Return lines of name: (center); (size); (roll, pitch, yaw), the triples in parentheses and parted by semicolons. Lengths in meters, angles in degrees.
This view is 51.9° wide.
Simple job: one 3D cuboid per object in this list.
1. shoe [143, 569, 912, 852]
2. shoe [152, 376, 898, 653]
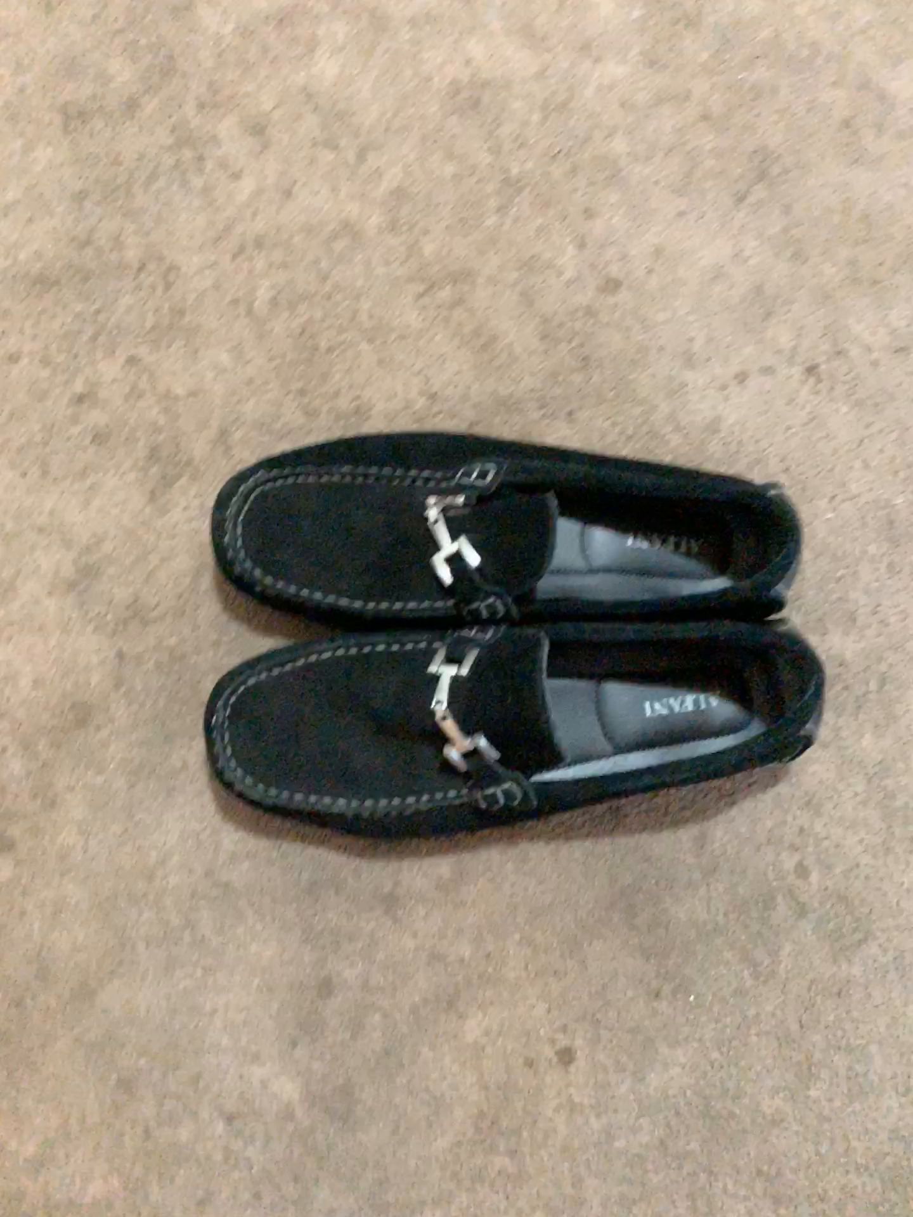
shoe: (0.033, 0.047, 0.419); (0.310, 0.100, 0.100); (-1, 78, -6)
shoe: (0.027, -0.041, 0.443); (0.310, 0.100, 0.100); (-1, 78, -6)
